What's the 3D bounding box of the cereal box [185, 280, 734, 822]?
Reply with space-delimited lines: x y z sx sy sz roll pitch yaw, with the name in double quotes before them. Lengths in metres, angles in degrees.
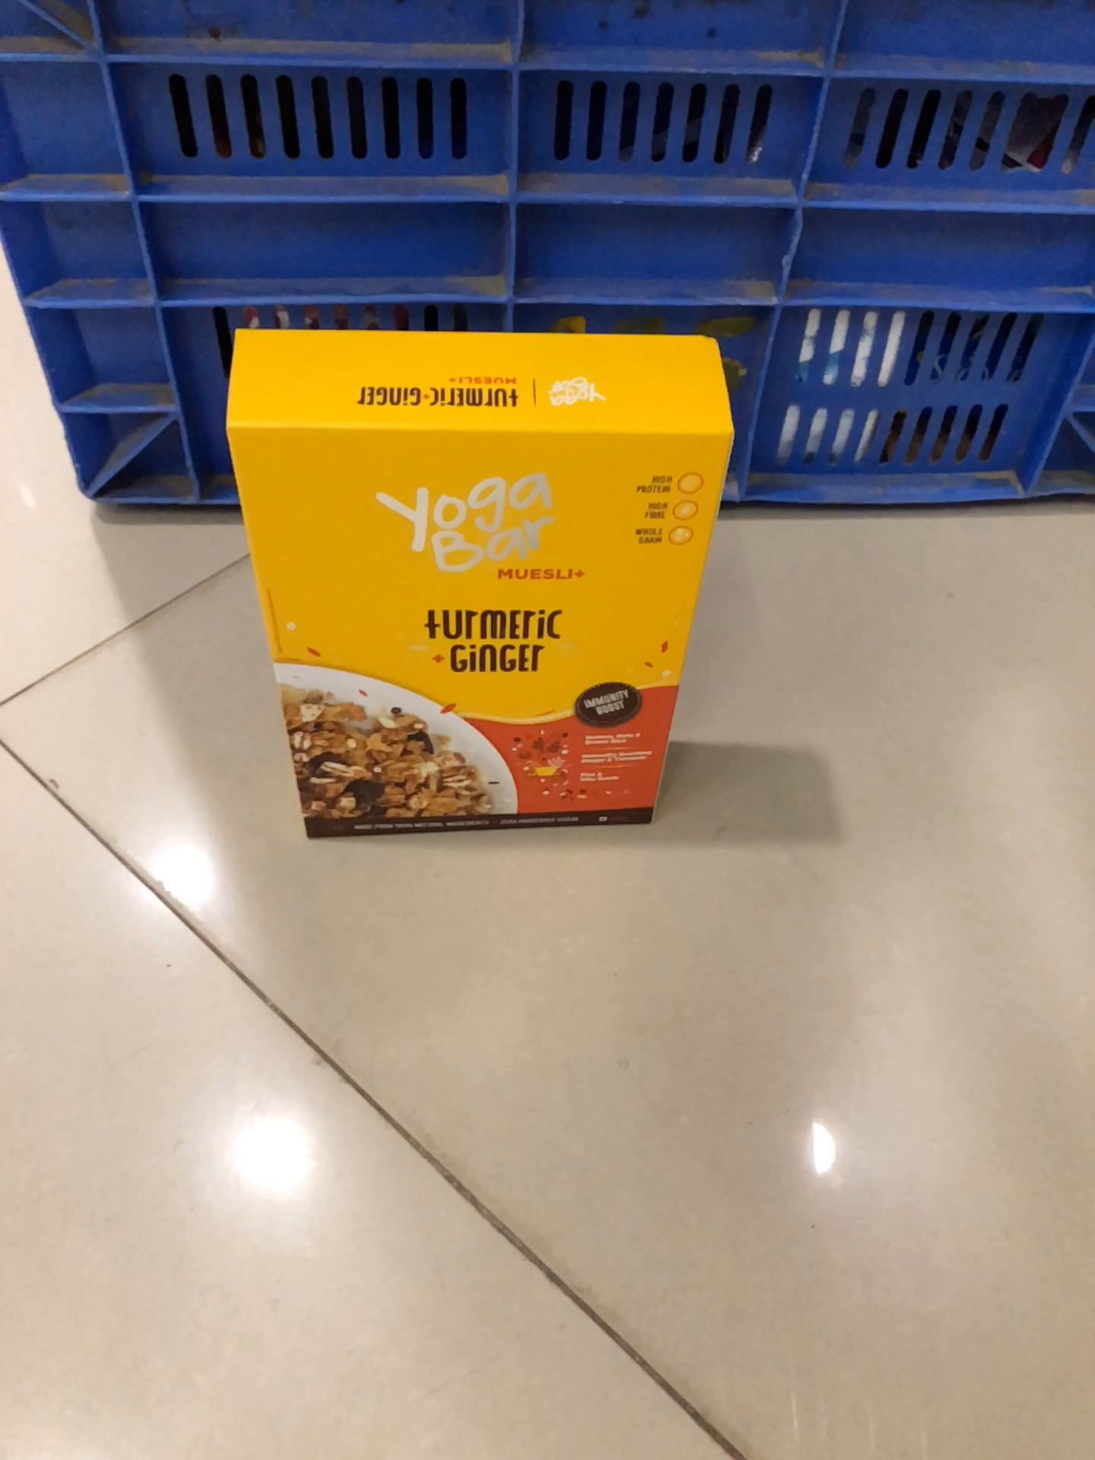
"cereal box" -0.032 -0.057 0.482 0.170 0.229 0.060 -2 50 -4
